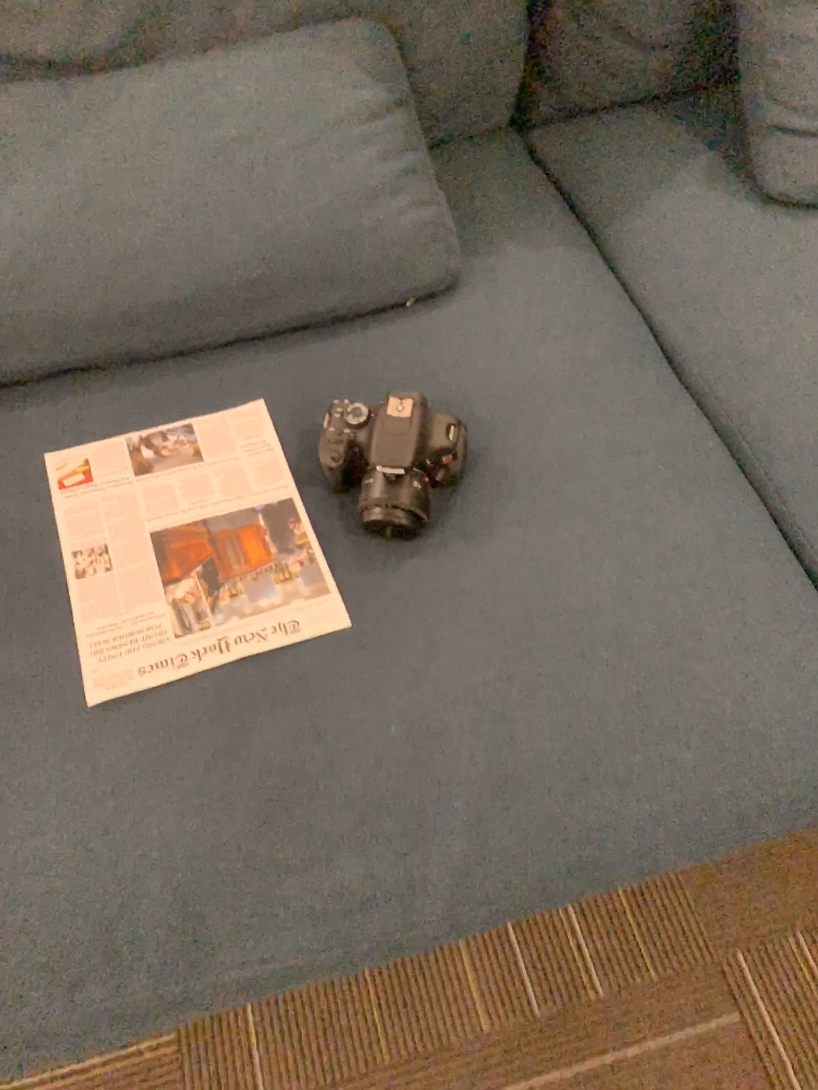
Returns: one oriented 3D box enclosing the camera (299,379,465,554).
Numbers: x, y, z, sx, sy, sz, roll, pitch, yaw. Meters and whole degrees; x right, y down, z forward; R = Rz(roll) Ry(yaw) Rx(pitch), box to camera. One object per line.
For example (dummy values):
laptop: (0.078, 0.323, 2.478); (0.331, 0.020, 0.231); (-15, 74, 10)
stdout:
camera: (-0.019, -0.074, 0.784); (0.127, 0.090, 0.122); (6, 57, 8)
